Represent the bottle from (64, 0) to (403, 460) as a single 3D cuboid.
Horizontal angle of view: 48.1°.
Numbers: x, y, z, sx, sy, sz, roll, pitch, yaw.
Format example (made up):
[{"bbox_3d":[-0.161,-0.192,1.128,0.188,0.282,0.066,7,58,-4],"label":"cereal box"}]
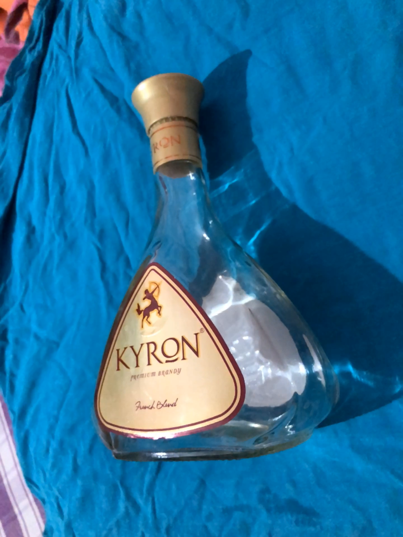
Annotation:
[{"bbox_3d":[0.007,-0.023,0.272,0.150,0.080,0.240,-18,76,38],"label":"bottle"}]
